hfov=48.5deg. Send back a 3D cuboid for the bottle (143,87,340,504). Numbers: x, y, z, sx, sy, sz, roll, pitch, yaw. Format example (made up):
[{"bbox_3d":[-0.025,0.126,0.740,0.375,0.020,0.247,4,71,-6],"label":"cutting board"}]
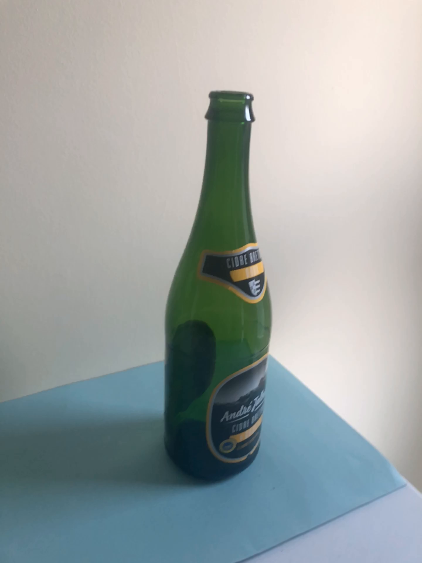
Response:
[{"bbox_3d":[0.013,0.011,0.342,0.090,0.278,0.080,-20,32,-40],"label":"bottle"}]
